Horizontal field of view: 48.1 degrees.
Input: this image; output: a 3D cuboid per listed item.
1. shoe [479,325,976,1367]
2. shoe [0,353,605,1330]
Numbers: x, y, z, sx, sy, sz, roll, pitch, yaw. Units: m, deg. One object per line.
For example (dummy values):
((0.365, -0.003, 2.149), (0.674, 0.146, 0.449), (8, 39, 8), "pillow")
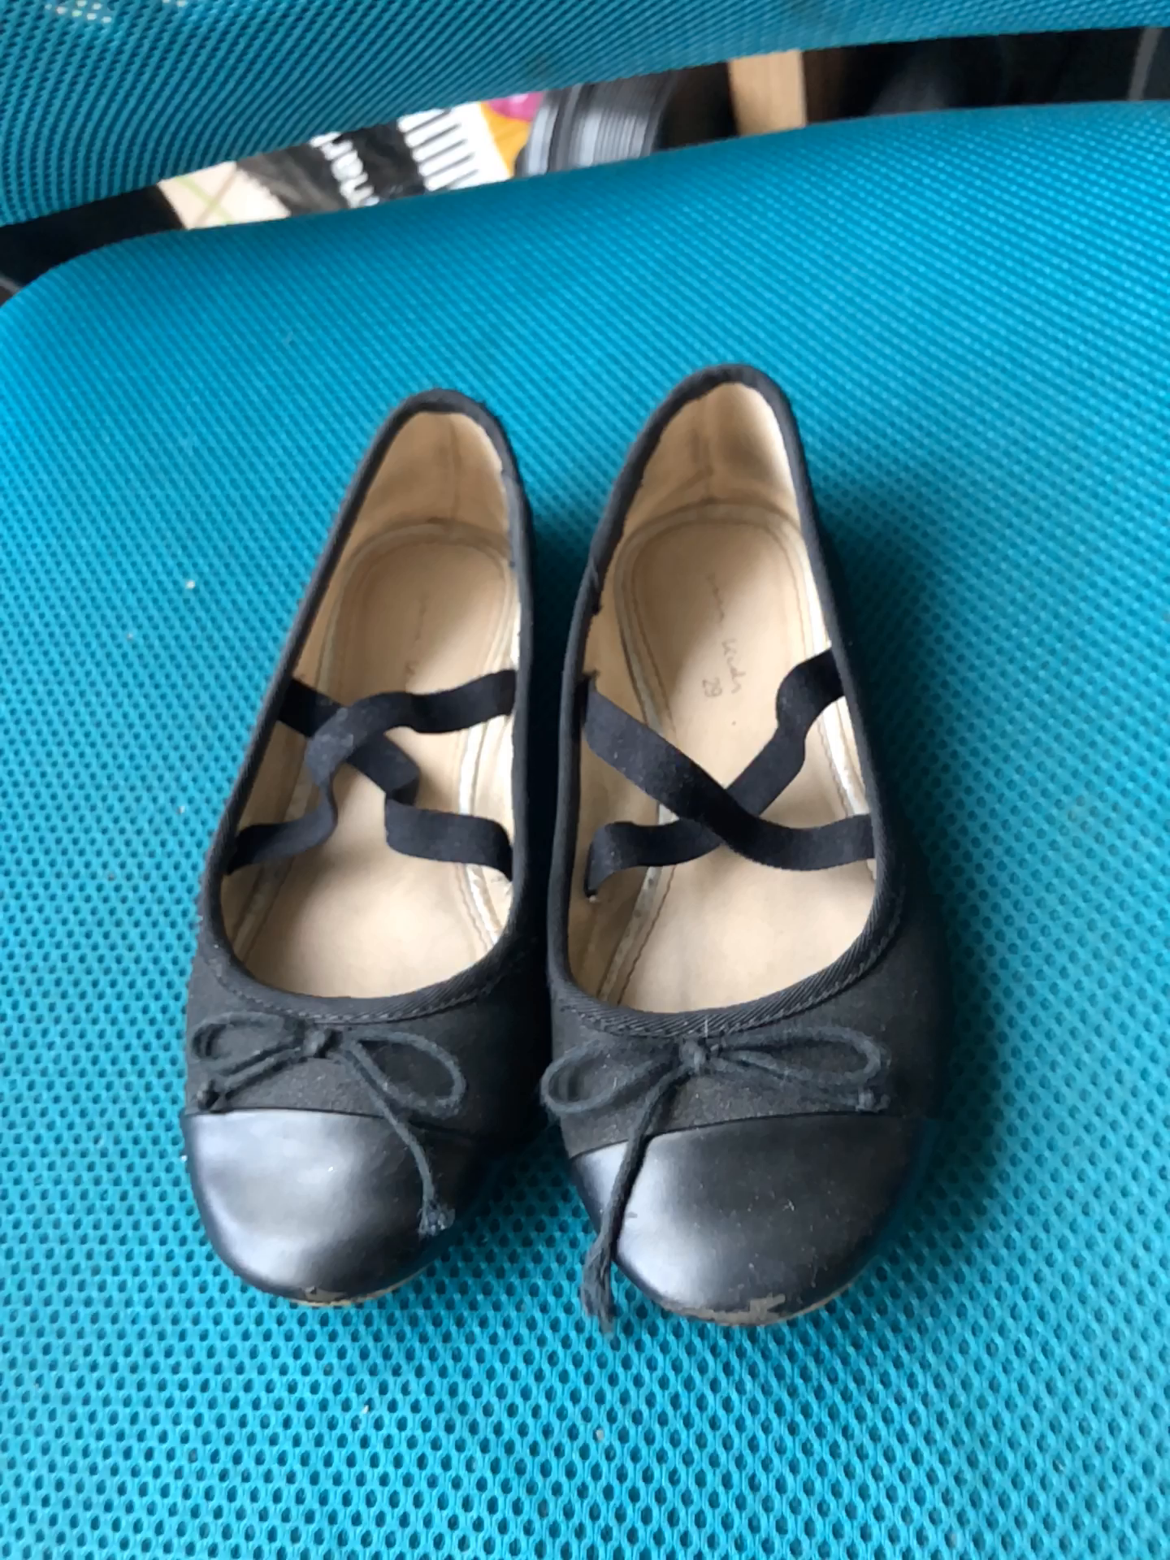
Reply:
((0.026, 0.004, 0.248), (0.068, 0.050, 0.191), (-5, 60, 11), "shoe")
((-0.044, 0.005, 0.271), (0.080, 0.050, 0.194), (-3, 60, 12), "shoe")
